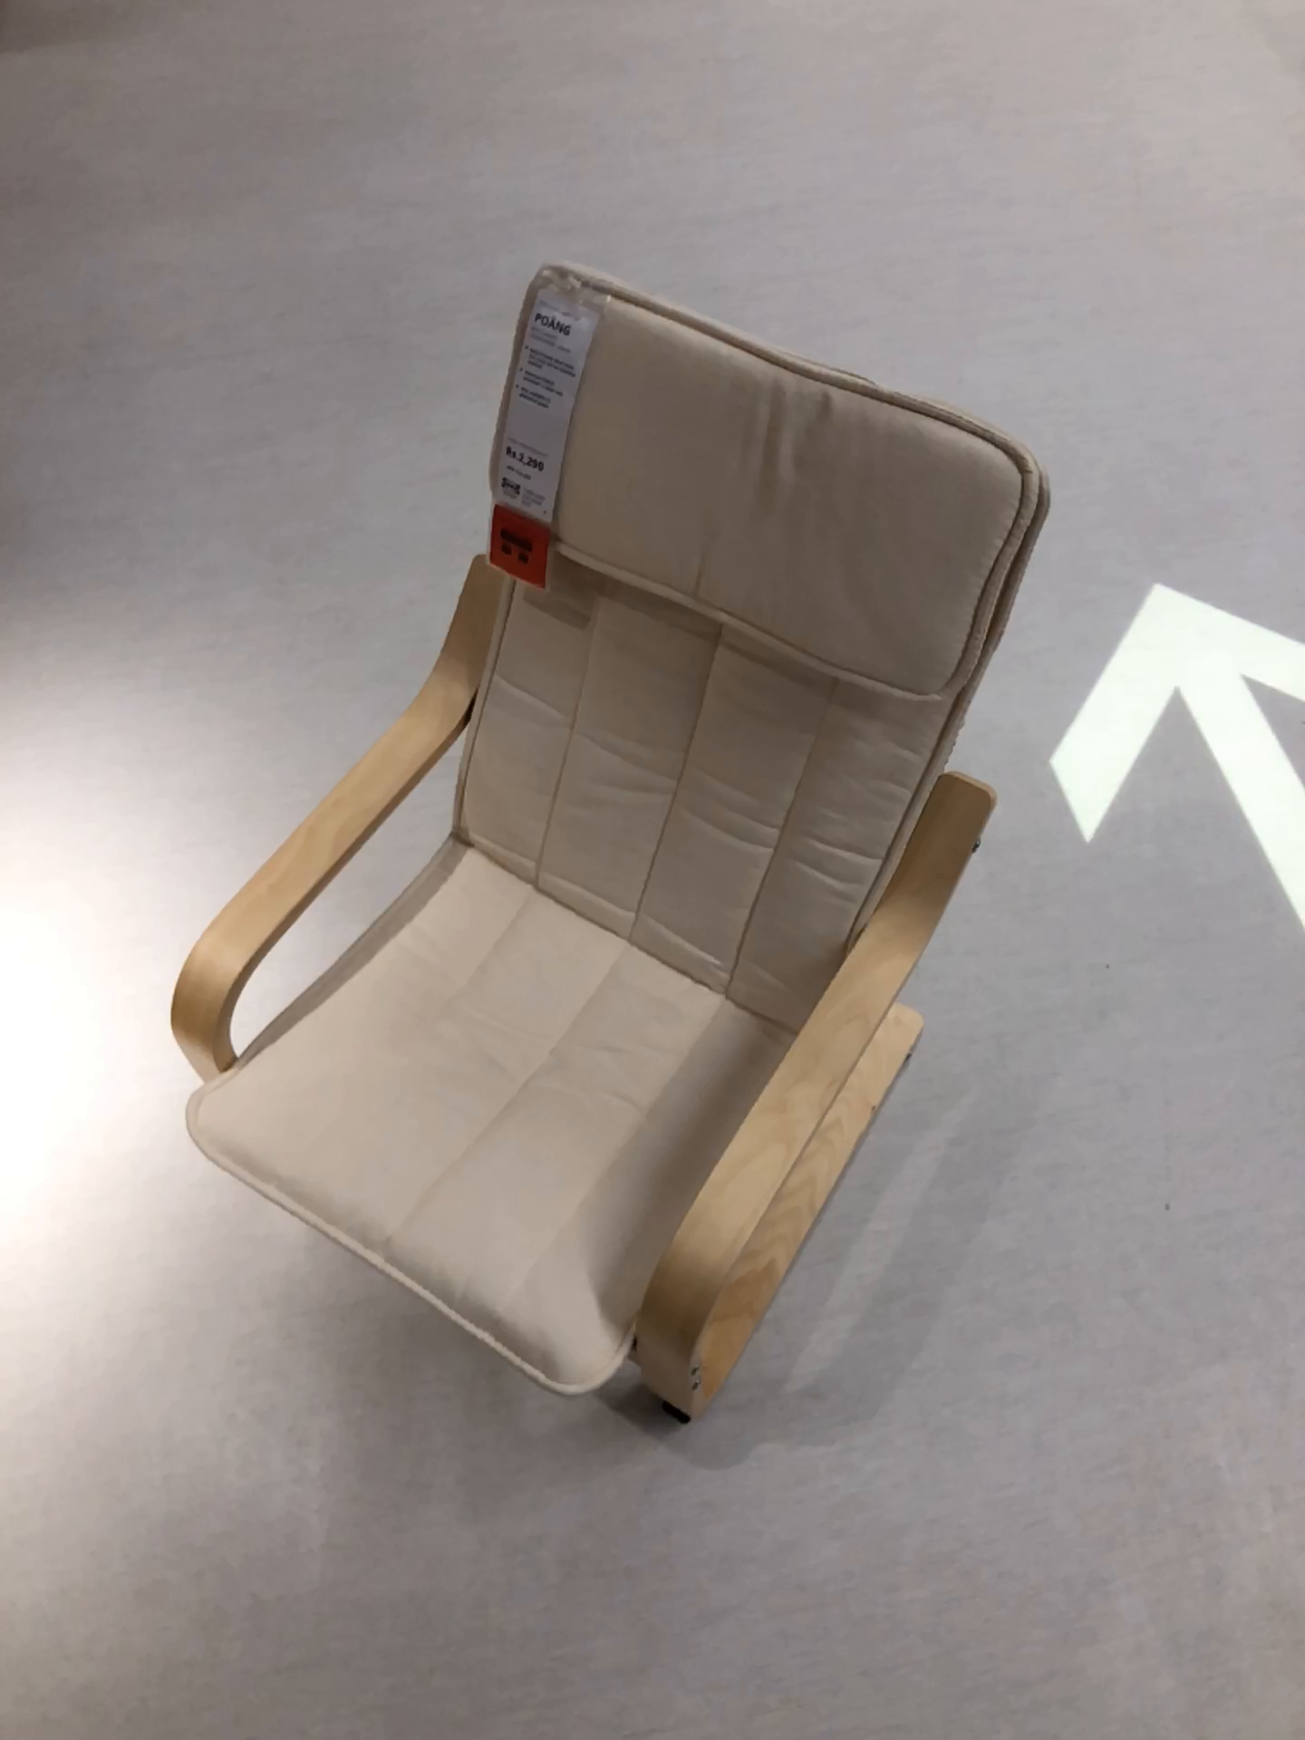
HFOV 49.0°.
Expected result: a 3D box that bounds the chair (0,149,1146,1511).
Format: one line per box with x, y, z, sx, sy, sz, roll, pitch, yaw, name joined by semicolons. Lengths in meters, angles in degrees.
-0.089;0.039;1.174;0.561;0.836;0.582;28;63;17;chair
